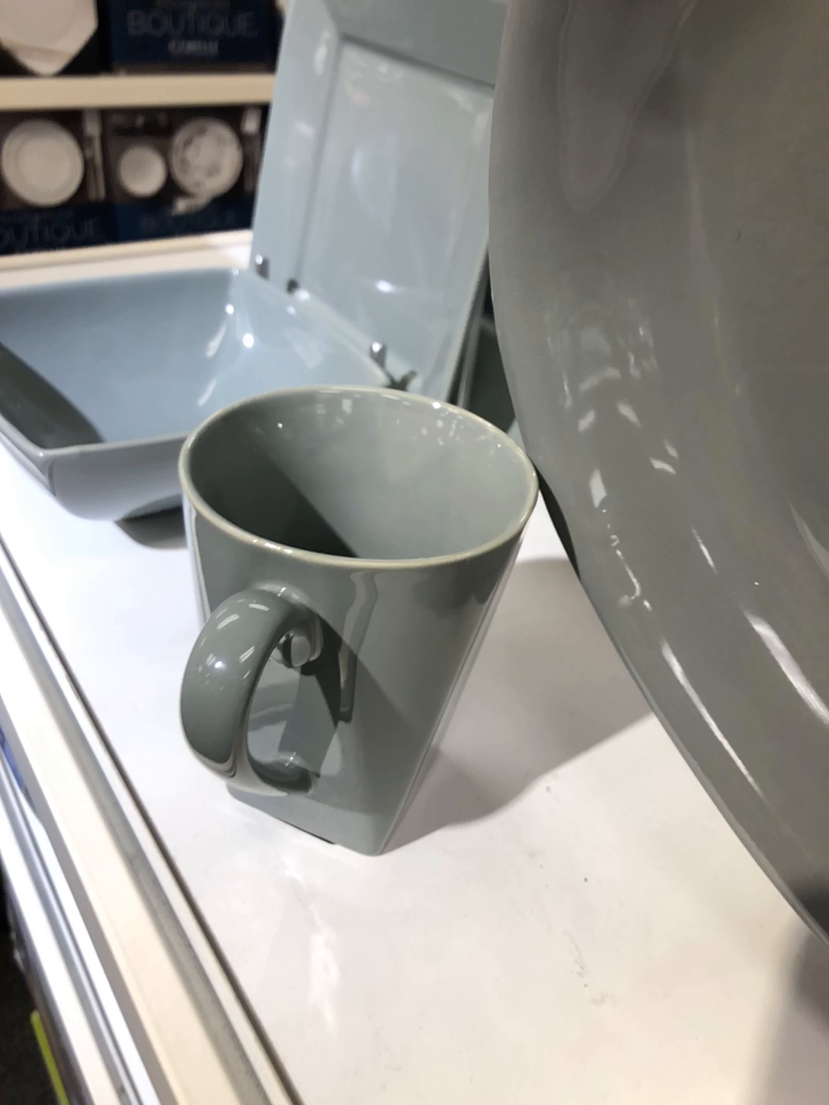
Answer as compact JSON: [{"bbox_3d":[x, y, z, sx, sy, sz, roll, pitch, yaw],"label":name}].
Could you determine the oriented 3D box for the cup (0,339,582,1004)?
[{"bbox_3d":[-0.028,0.020,0.246,0.100,0.097,0.118,17,37,15],"label":"cup"}]
